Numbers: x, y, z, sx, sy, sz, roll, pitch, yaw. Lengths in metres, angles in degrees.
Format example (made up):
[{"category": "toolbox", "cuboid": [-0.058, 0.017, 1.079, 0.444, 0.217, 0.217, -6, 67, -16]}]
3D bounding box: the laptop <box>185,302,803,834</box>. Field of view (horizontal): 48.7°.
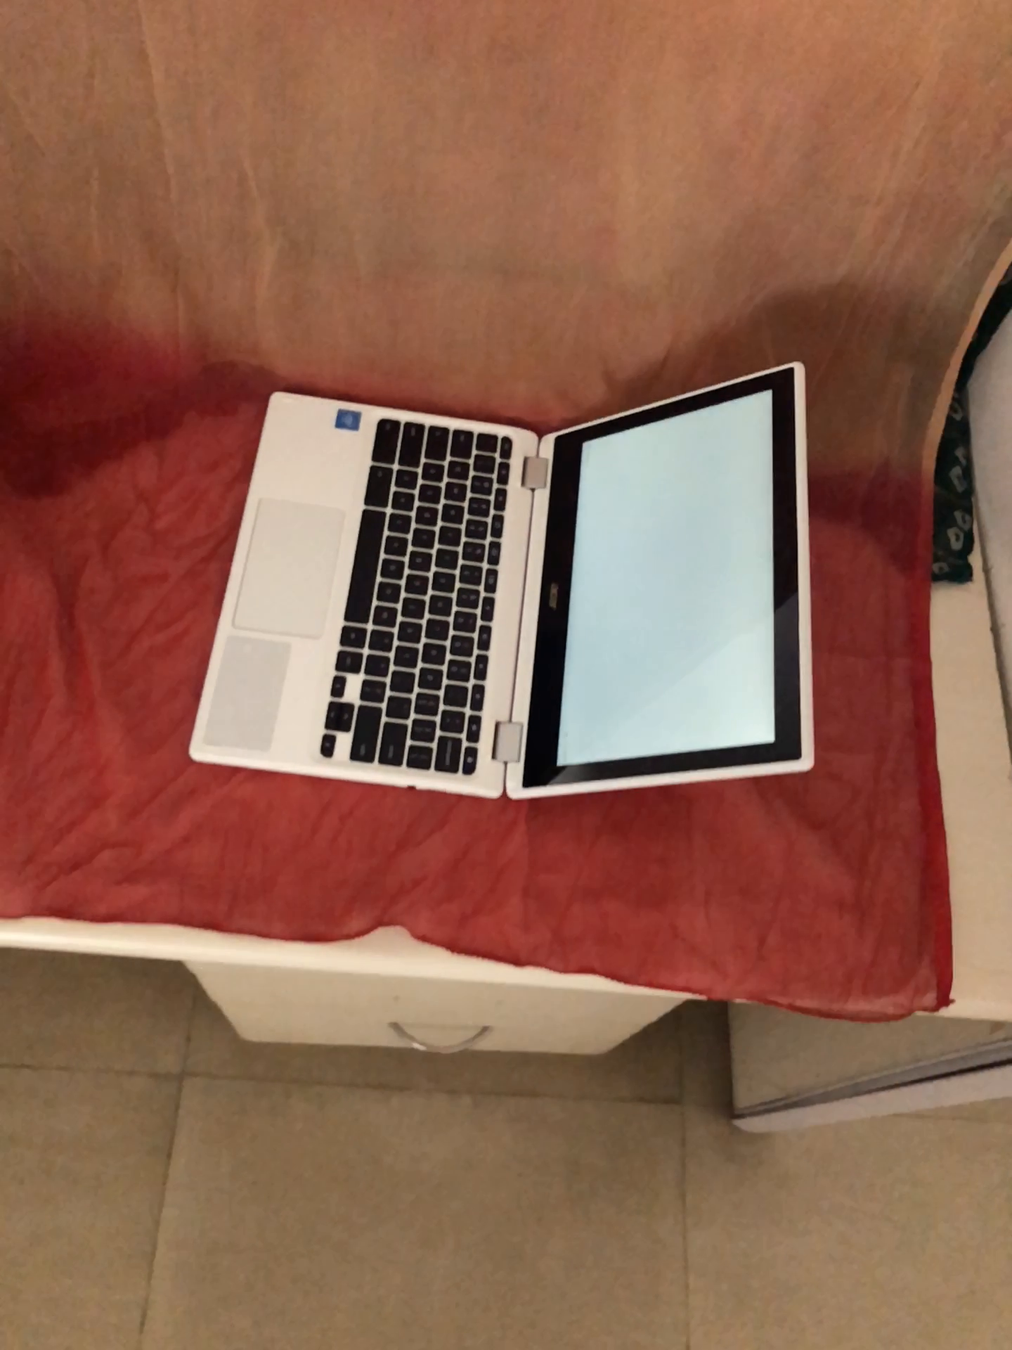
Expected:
[{"category": "laptop", "cuboid": [0.002, -0.067, 0.709, 0.337, 0.113, 0.263, 8, 64, -3]}]
